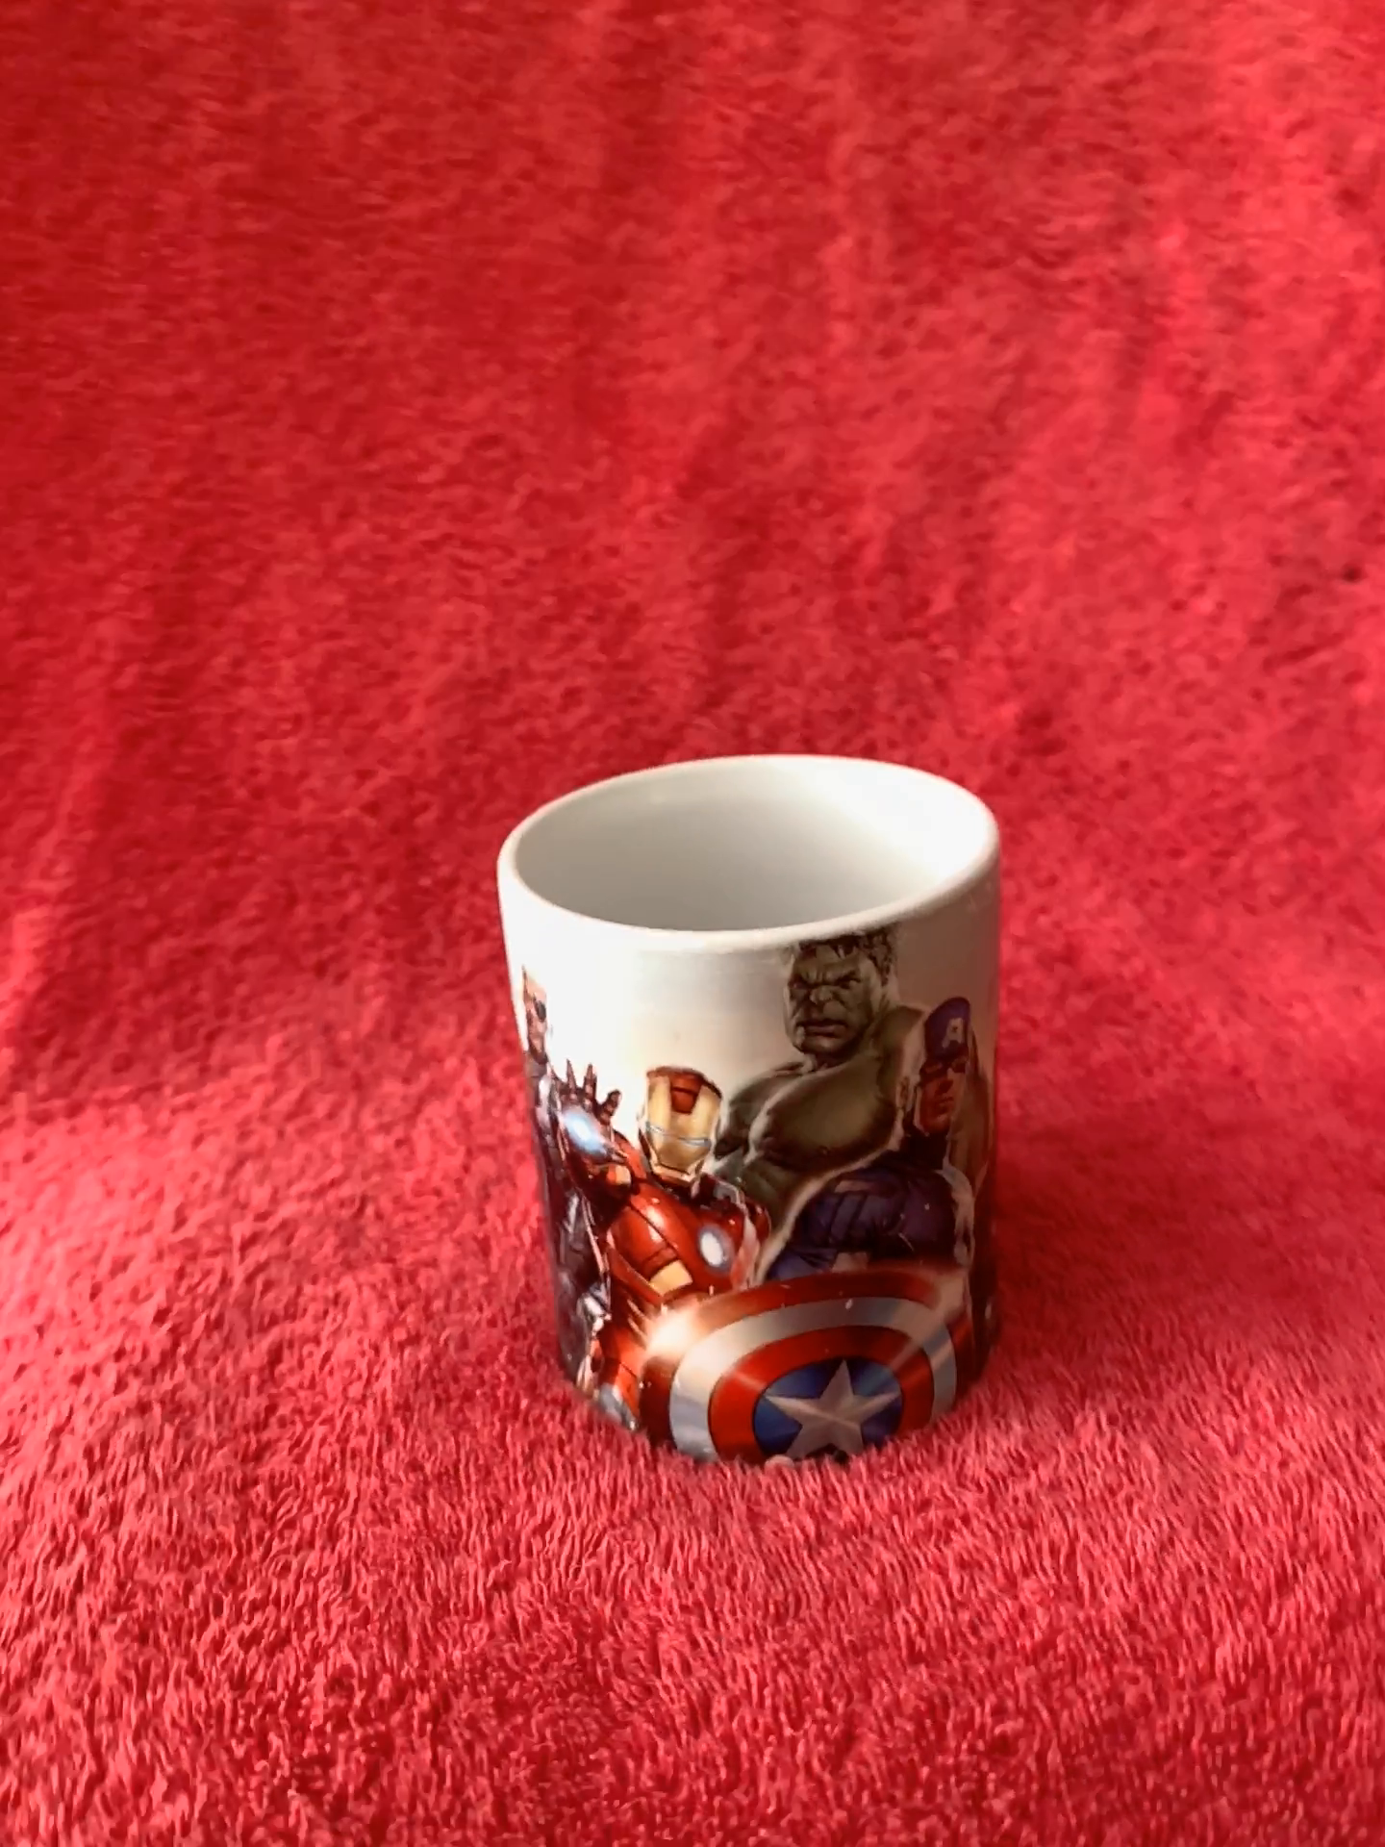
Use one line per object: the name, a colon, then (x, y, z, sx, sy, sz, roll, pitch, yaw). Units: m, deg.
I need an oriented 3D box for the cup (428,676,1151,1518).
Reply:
cup: (0.004, 0.018, 0.257, 0.090, 0.089, 0.121, -4, 25, -11)
